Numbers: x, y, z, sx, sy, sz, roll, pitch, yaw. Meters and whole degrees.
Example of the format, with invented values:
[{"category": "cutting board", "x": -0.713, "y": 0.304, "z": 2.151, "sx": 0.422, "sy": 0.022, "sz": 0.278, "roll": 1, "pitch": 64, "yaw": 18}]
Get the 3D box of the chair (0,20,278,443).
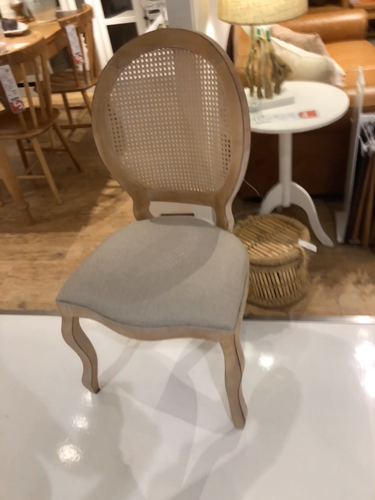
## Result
[{"category": "chair", "x": -0.087, "y": -0.019, "z": 1.151, "sx": 0.590, "sy": 0.963, "sz": 0.524, "roll": 6, "pitch": 41, "yaw": 19}]
